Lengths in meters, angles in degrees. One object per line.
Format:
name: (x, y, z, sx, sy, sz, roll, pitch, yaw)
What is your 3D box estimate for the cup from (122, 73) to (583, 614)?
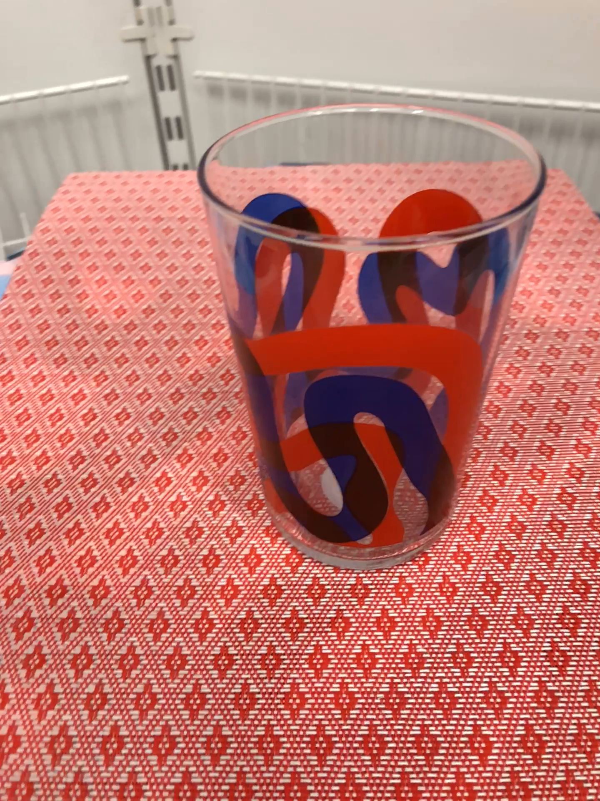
cup: (0.022, -0.019, 0.204, 0.090, 0.120, 0.090, -2, 41, 2)
